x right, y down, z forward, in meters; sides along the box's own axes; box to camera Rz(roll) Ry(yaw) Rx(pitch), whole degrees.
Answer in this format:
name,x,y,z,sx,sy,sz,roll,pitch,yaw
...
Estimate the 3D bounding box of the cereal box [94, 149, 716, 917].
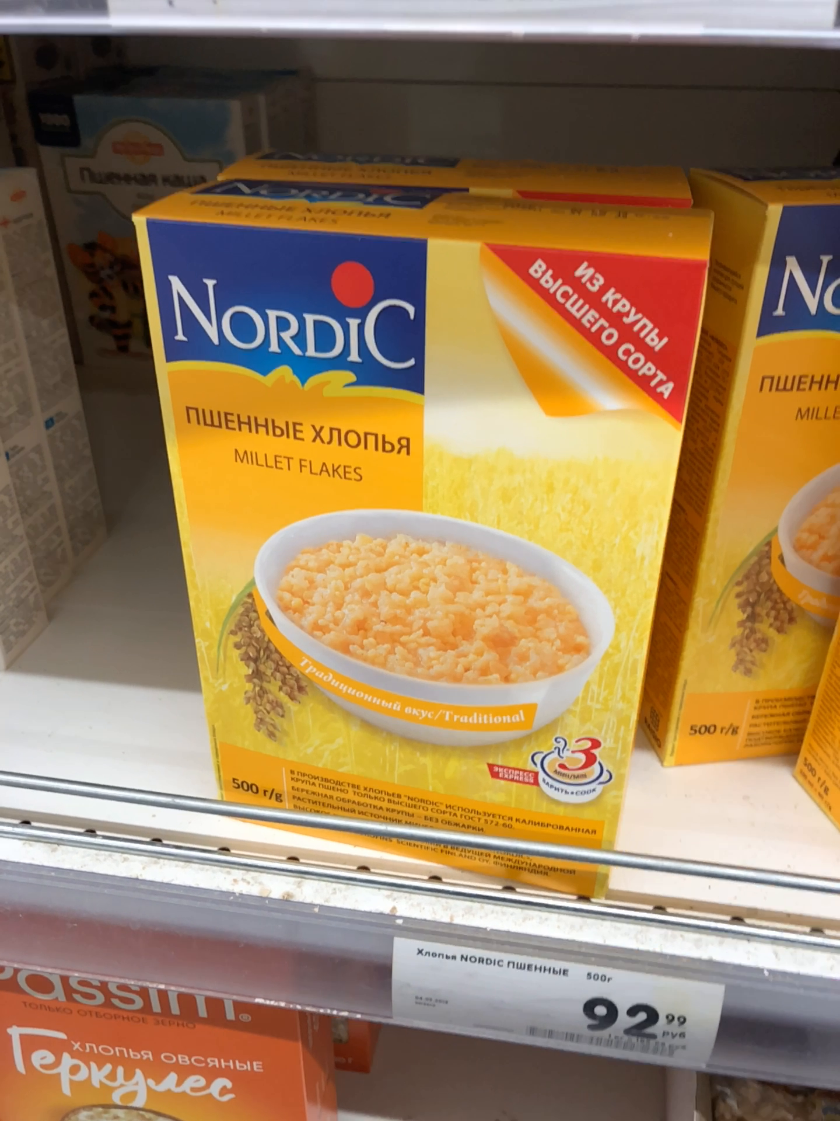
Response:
name,x,y,z,sx,sy,sz,roll,pitch,yaw
cereal box,-0.001,-0.003,0.281,0.140,0.209,0.060,9,32,14
